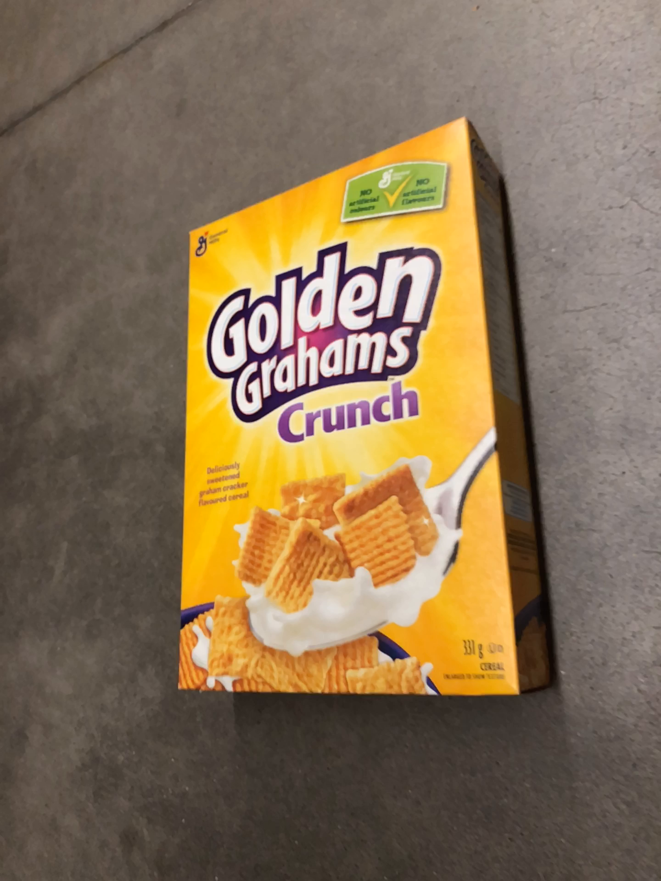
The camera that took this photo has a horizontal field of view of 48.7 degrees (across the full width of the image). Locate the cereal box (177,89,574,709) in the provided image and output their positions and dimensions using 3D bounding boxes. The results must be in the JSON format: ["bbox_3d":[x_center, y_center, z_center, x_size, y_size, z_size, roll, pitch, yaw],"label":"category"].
[{"bbox_3d":[0.011,-0.012,0.420,0.201,0.070,0.300,-12,73,33],"label":"cereal box"}]
